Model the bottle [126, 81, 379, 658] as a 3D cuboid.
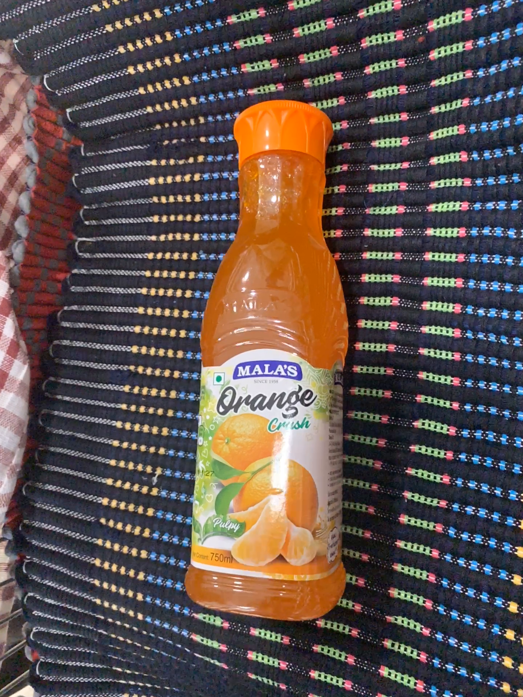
[{"bbox_3d":[0.006,0.005,0.254,0.080,0.080,0.220,1,80,18],"label":"bottle"}]
